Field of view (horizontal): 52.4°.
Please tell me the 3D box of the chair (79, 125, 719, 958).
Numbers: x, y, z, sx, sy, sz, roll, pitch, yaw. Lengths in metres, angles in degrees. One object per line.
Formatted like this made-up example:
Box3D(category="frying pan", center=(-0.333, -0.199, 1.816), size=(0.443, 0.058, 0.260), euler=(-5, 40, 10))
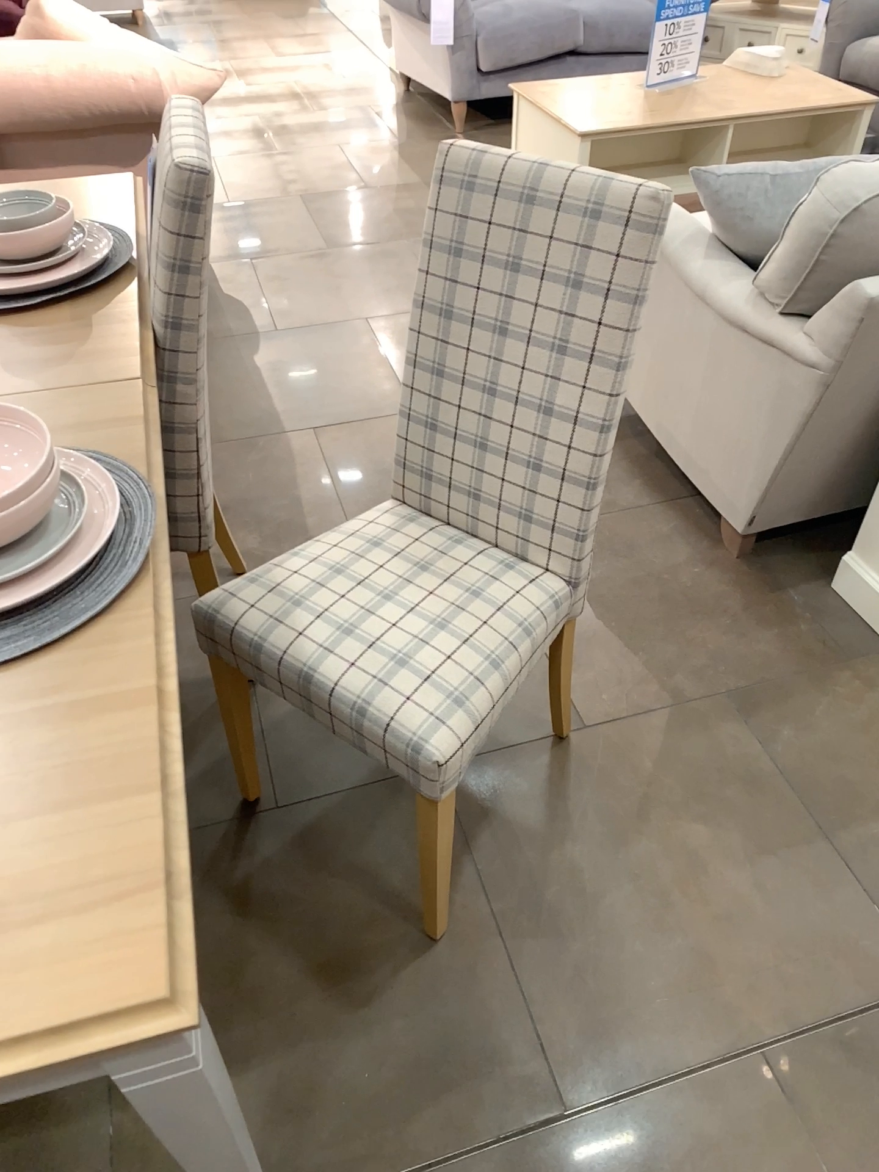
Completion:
Box3D(category="chair", center=(-0.014, -0.040, 1.266), size=(0.429, 0.938, 0.570), euler=(25, 48, 25))
